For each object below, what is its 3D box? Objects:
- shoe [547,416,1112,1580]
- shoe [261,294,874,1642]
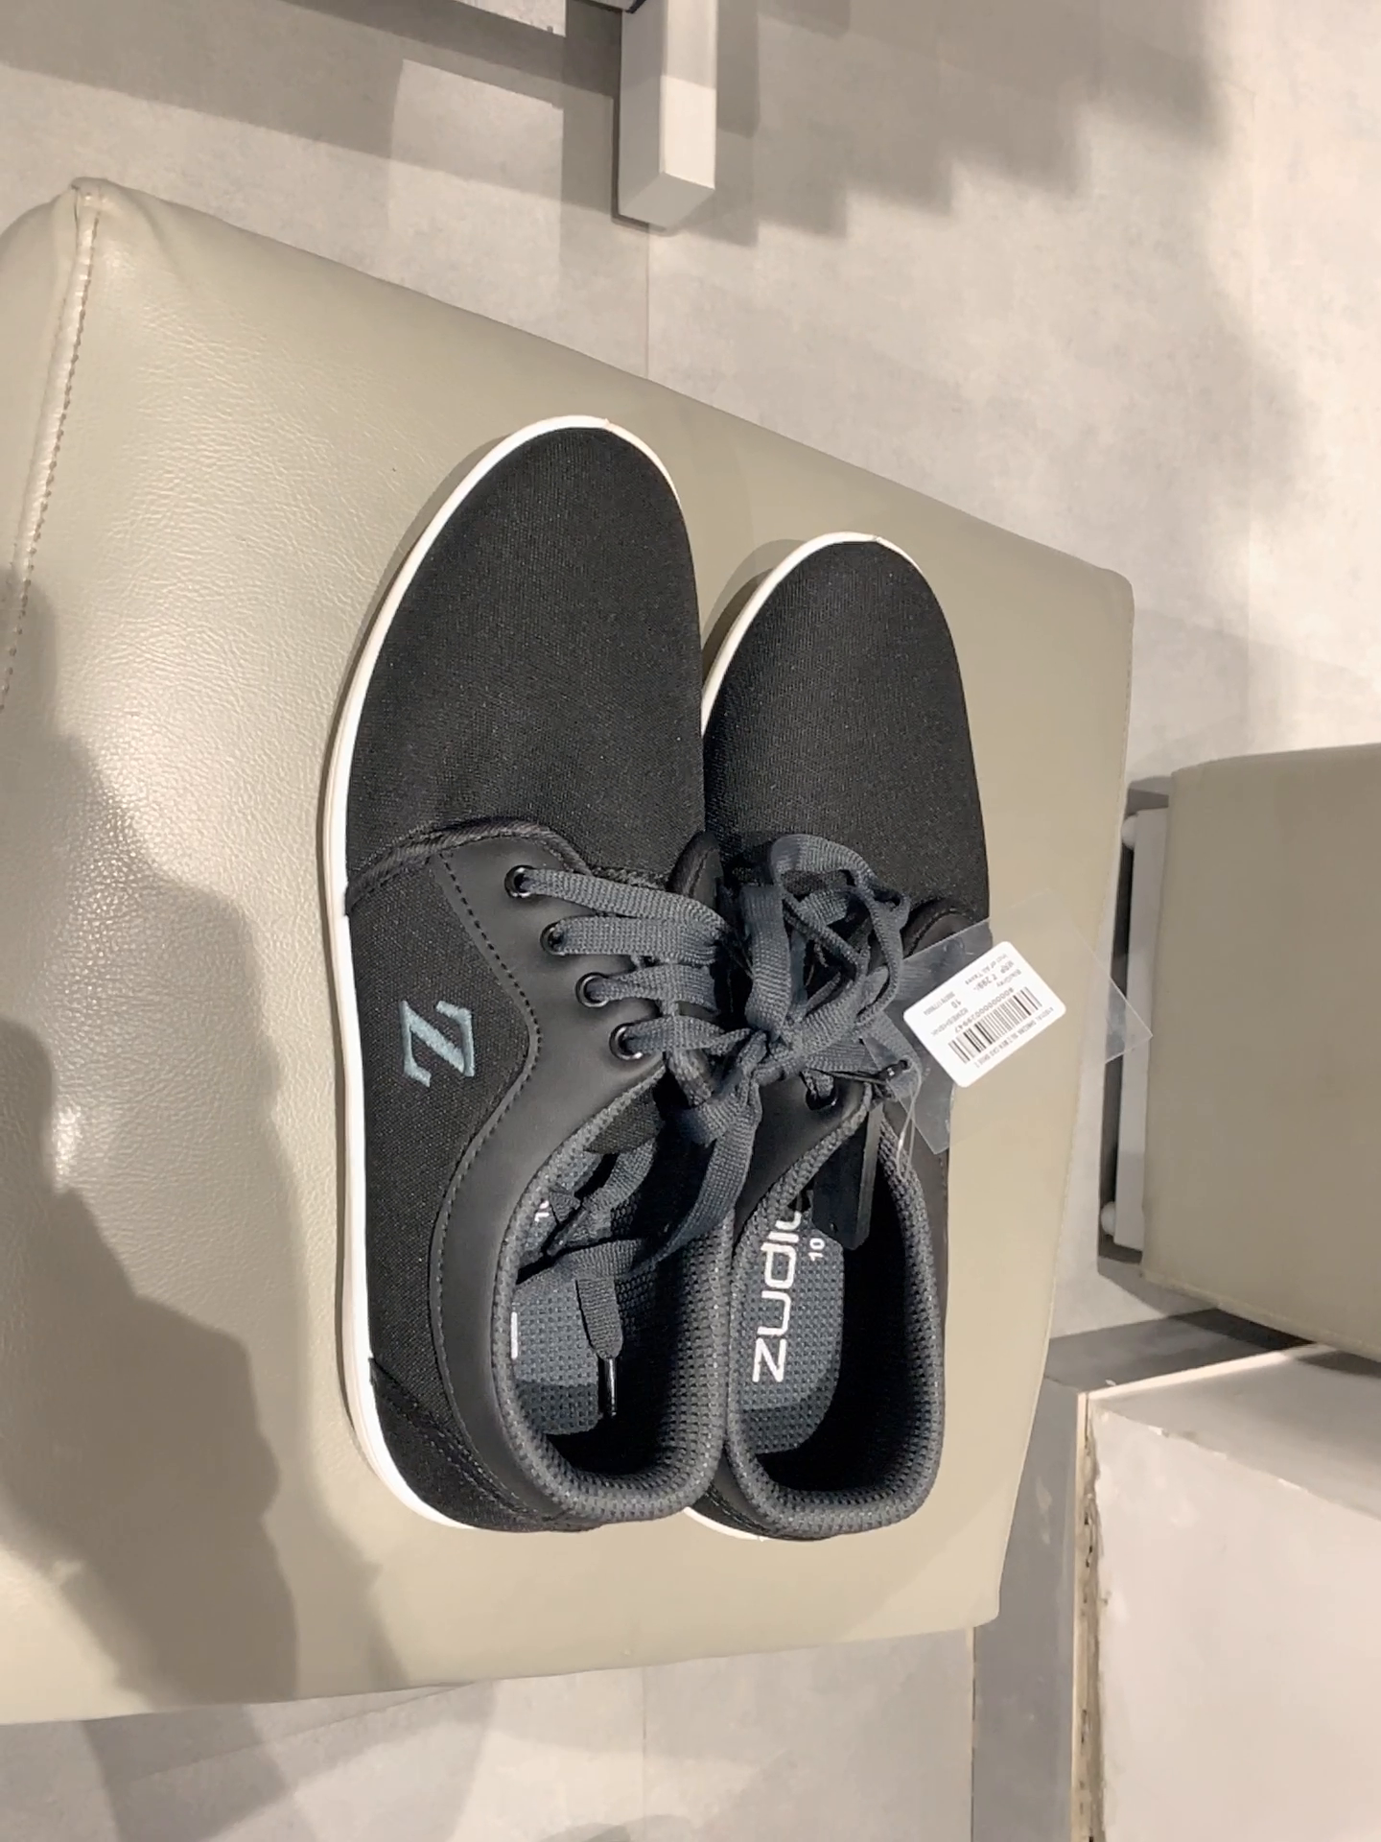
[{"bbox_3d":[0.036,0.022,0.405,0.100,0.100,0.280,6,88,-23],"label":"shoe"},{"bbox_3d":[-0.034,0.011,0.351,0.100,0.100,0.270,5,89,-30],"label":"shoe"}]
